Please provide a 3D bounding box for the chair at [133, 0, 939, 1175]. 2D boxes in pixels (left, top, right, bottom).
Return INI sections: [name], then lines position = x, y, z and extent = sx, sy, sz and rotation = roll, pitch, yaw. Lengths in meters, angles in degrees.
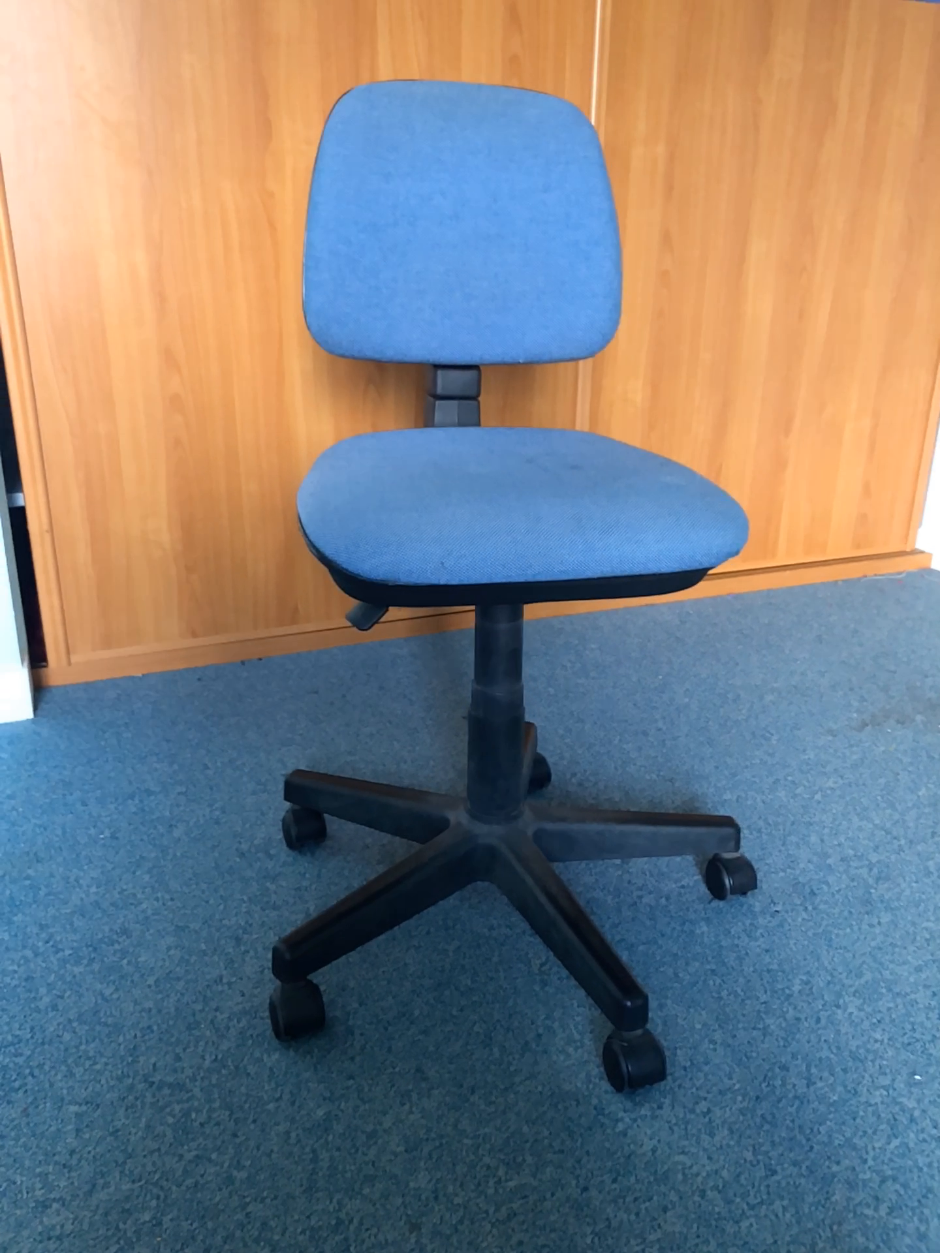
[chair]
position = 0.040, -0.122, 1.130
extent = 0.651, 0.915, 0.763
rotation = -4, 21, -13
